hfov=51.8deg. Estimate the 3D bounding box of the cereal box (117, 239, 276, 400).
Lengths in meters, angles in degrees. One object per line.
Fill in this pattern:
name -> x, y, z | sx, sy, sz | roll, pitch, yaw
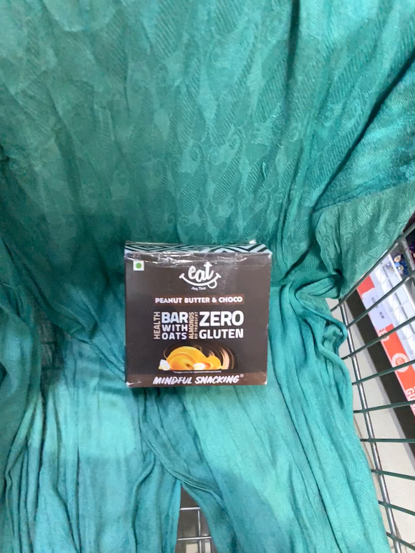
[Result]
cereal box -> -0.014, 0.036, 0.430 | 0.140, 0.090, 0.140 | 0, 100, -5
